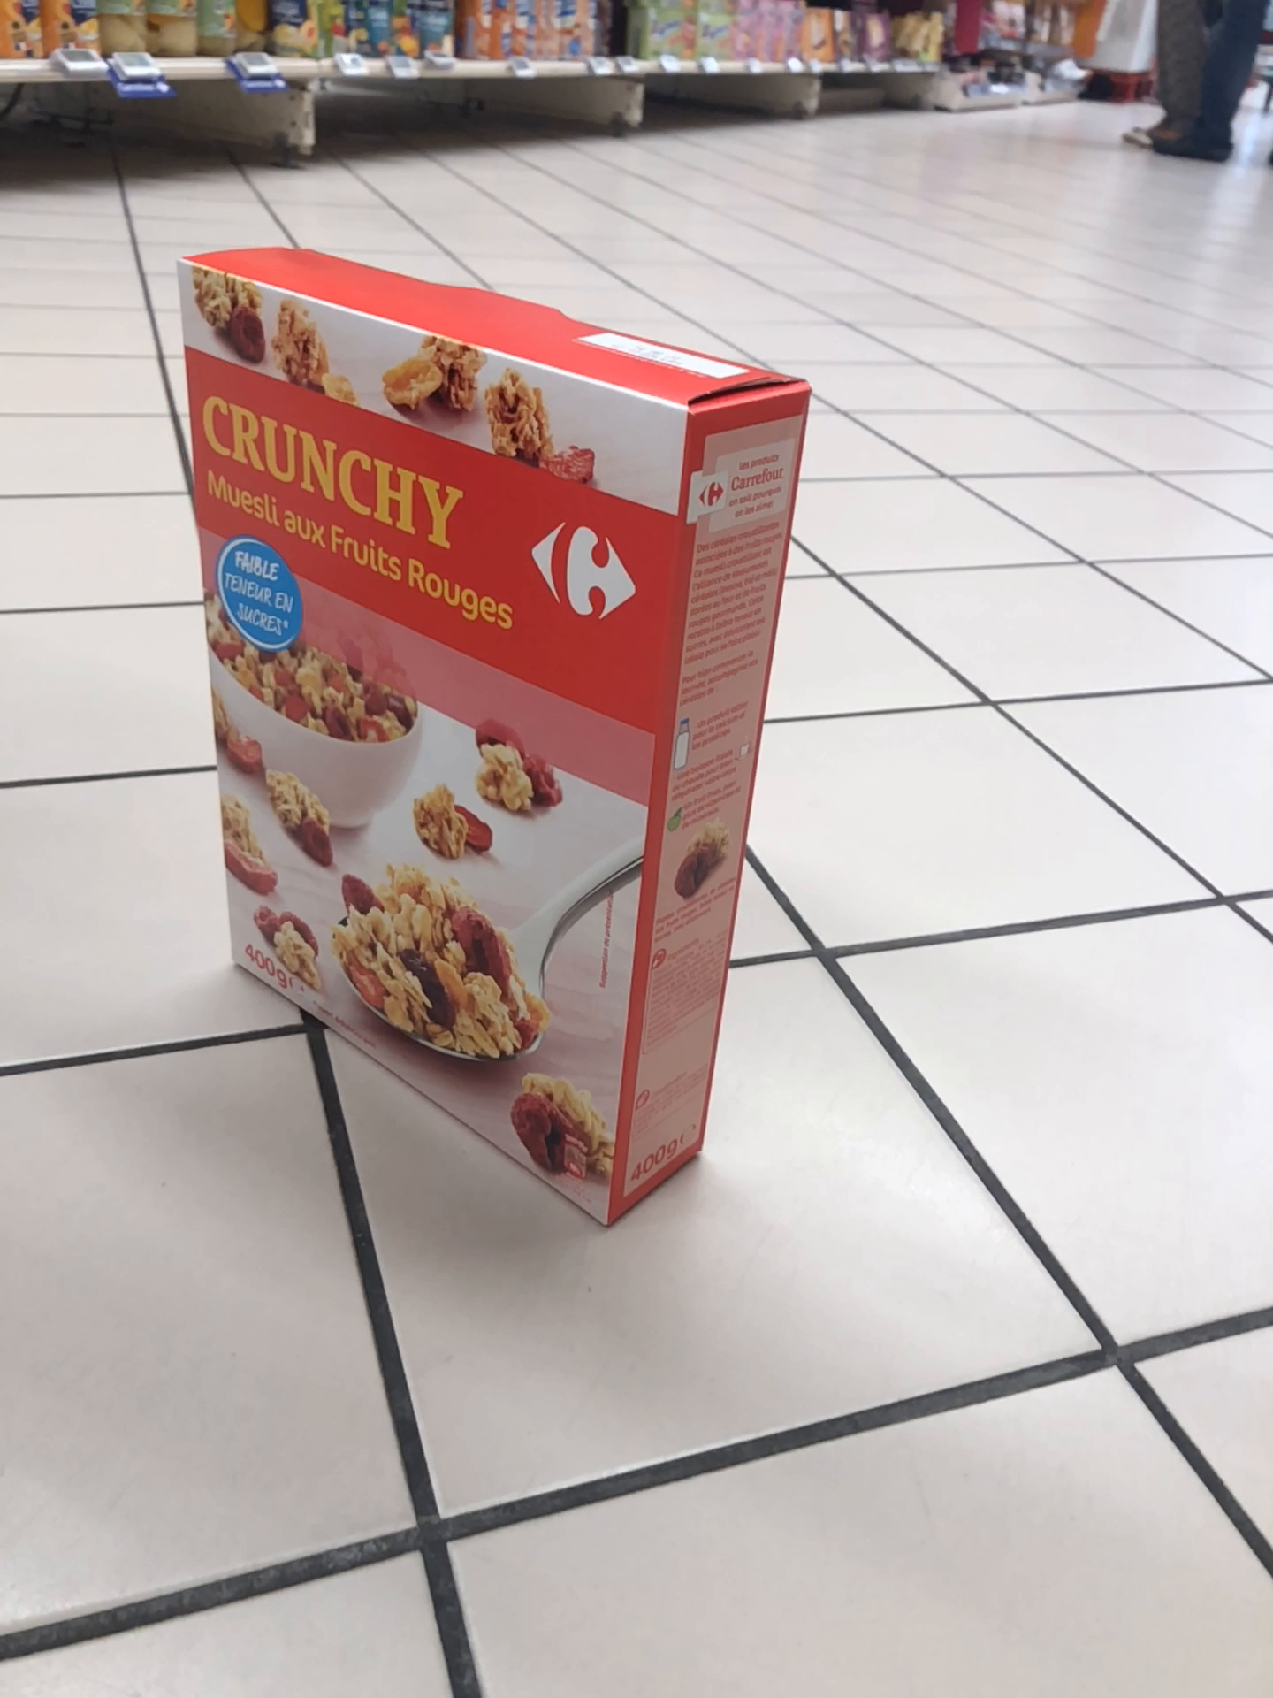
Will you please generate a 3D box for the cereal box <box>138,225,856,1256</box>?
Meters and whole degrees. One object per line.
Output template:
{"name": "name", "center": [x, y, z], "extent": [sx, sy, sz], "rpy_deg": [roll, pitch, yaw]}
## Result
{"name": "cereal box", "center": [-0.054, -0.036, 0.423], "extent": [0.200, 0.248, 0.060], "rpy_deg": [27, 37, 32]}
